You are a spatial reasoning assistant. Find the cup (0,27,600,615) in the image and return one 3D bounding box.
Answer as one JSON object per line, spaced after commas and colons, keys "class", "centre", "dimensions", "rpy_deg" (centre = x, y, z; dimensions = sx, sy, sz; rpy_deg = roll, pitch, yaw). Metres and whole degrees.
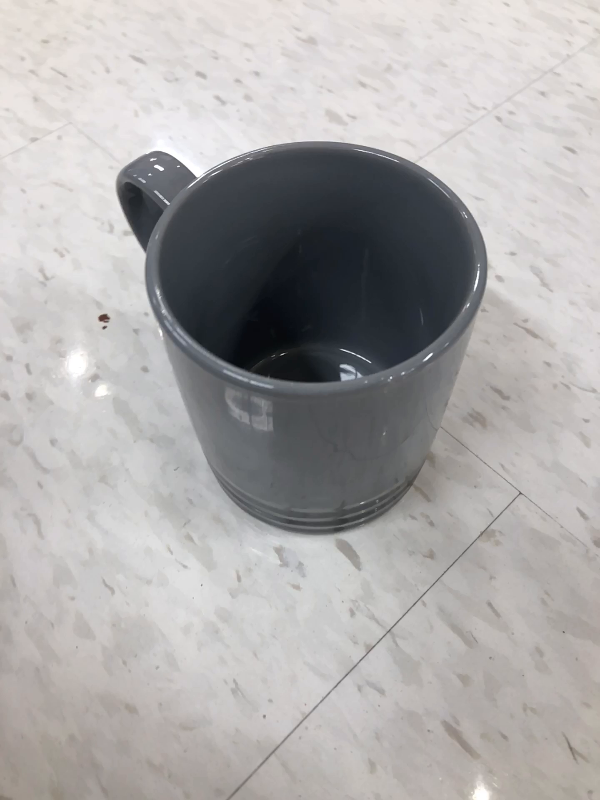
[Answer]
{"class": "cup", "centre": [-0.010, -0.030, 0.222], "dimensions": [0.150, 0.090, 0.100], "rpy_deg": [40, 67, 22]}
